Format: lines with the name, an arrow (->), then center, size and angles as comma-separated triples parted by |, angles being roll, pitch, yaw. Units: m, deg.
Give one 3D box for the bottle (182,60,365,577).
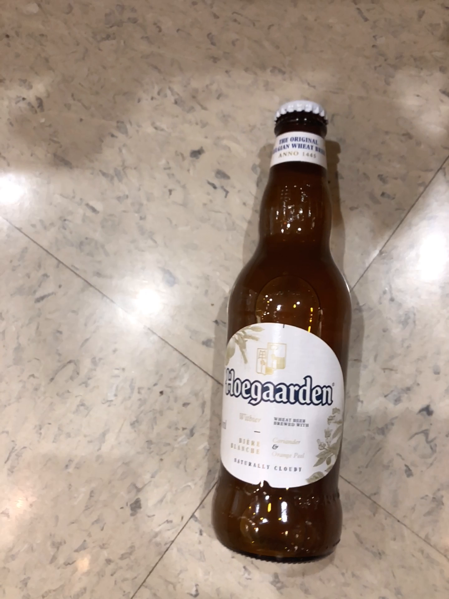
bottle -> 0.027, 0.003, 0.251 | 0.070, 0.050, 0.230 | 3, 83, 7
